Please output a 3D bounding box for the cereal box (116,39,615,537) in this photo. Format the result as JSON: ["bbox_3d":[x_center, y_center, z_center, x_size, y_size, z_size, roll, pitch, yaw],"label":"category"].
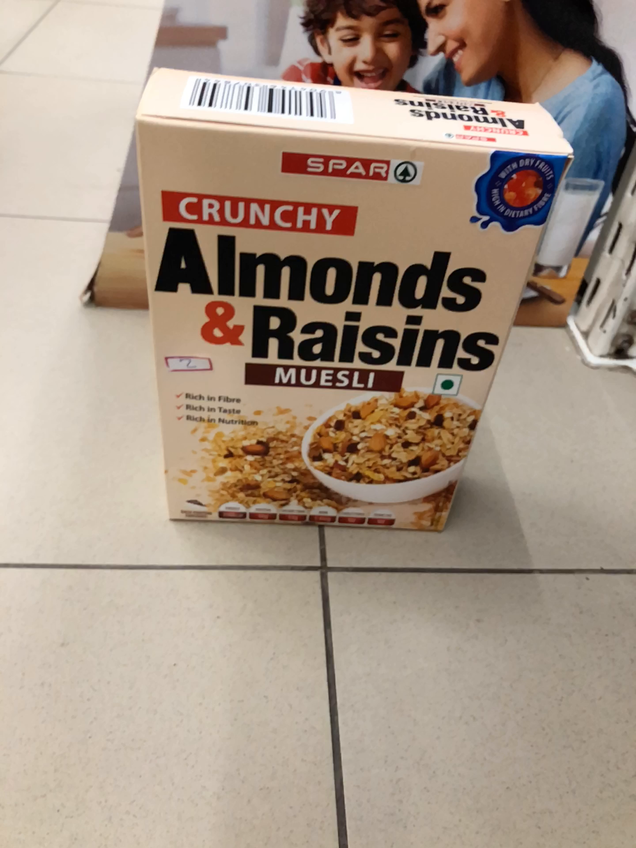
[{"bbox_3d":[0.008,-0.045,0.355,0.180,0.239,0.060,2,42,-5],"label":"cereal box"}]
